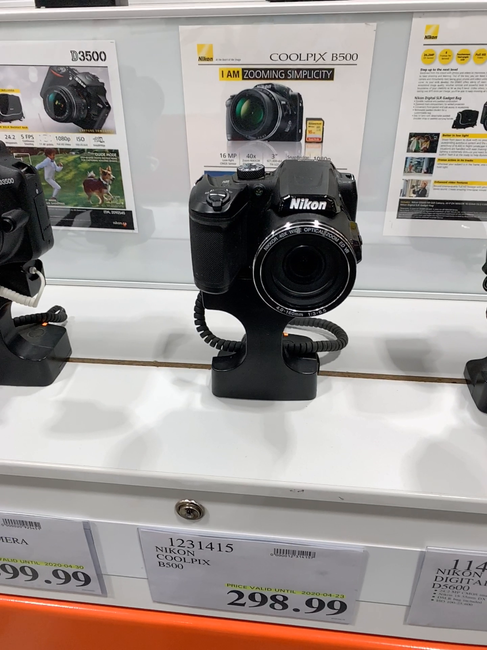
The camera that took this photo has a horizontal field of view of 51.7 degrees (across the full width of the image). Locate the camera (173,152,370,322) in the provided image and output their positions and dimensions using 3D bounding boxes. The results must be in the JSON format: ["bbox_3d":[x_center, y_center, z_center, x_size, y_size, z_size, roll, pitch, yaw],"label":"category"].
[{"bbox_3d":[0.019,-0.060,0.334,0.110,0.089,0.071,1,32,5],"label":"camera"}]
